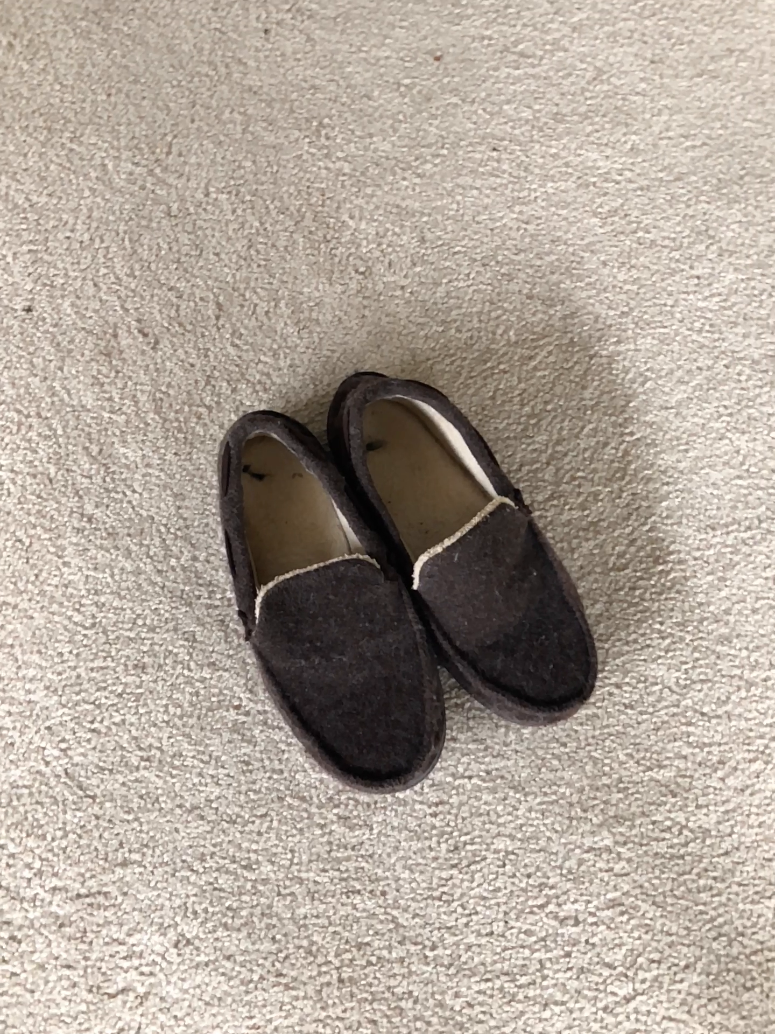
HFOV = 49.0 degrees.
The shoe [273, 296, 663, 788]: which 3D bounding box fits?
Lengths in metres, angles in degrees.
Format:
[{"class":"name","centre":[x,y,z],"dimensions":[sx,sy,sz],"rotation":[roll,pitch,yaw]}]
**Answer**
[{"class":"shoe","centre":[0.048,0.017,0.616],"dimensions":[0.118,0.096,0.316],"rotation":[-29,81,-7]}]

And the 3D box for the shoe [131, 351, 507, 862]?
[{"class":"shoe","centre":[-0.051,0.059,0.609],"dimensions":[0.120,0.096,0.317],"rotation":[-26,81,-7]}]
